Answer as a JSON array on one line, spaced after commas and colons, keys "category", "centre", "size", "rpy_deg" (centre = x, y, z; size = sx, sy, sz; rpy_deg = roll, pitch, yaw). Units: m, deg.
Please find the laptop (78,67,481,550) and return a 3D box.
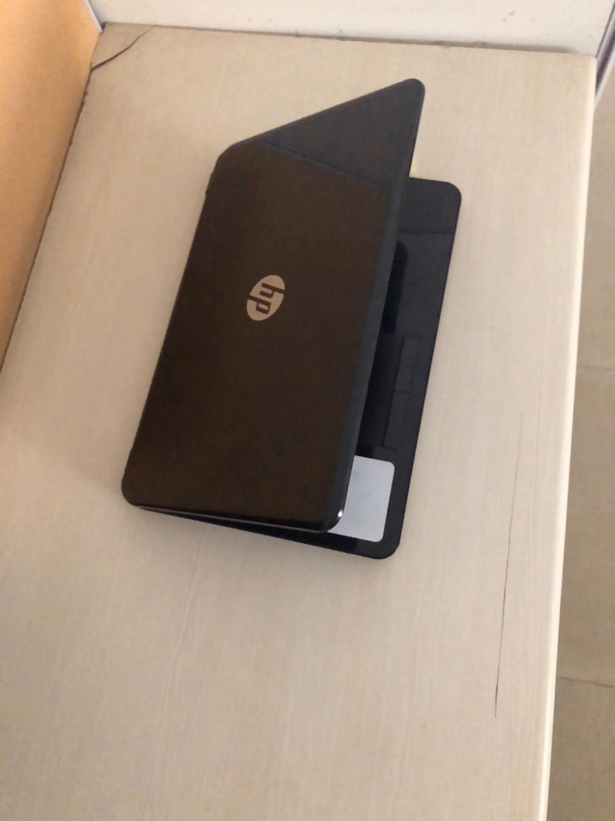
[{"category": "laptop", "centre": [-0.006, -0.086, 0.576], "size": [0.223, 0.131, 0.352], "rpy_deg": [11, 75, 10]}]
